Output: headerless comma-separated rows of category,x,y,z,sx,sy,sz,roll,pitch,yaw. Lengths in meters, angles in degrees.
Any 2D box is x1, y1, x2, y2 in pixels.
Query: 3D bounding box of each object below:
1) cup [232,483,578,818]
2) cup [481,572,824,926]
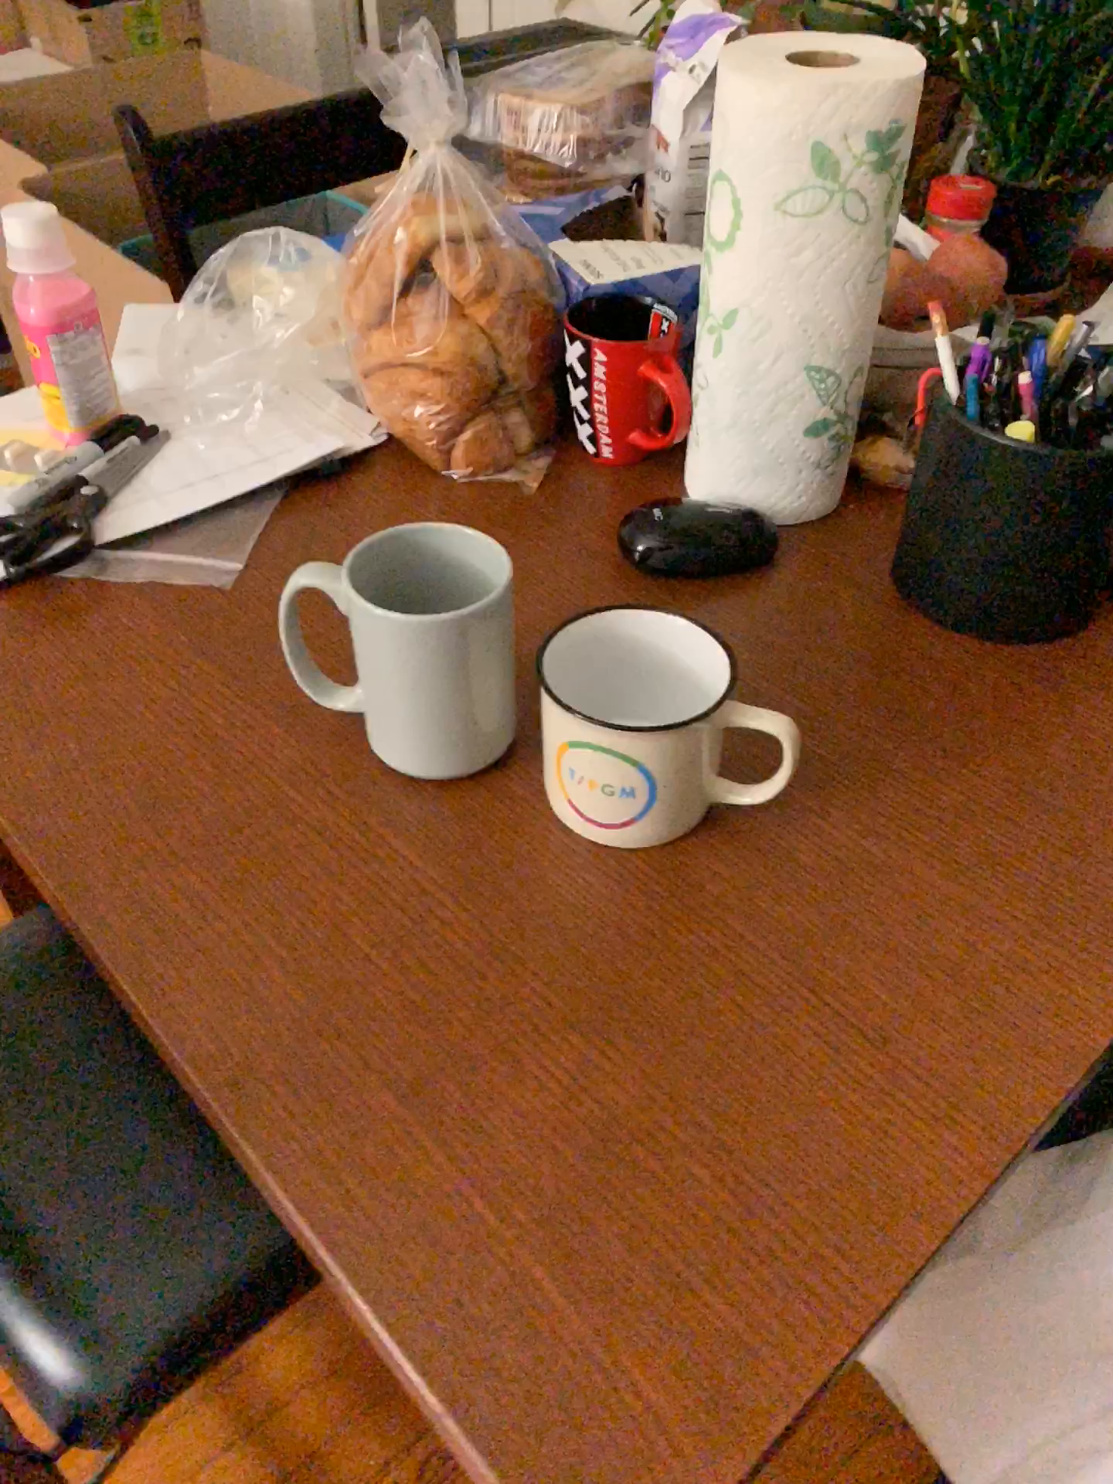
cup,-0.075,-0.052,0.601,0.140,0.099,0.100,22,47,22
cup,0.046,0.000,0.571,0.130,0.099,0.100,22,47,22
